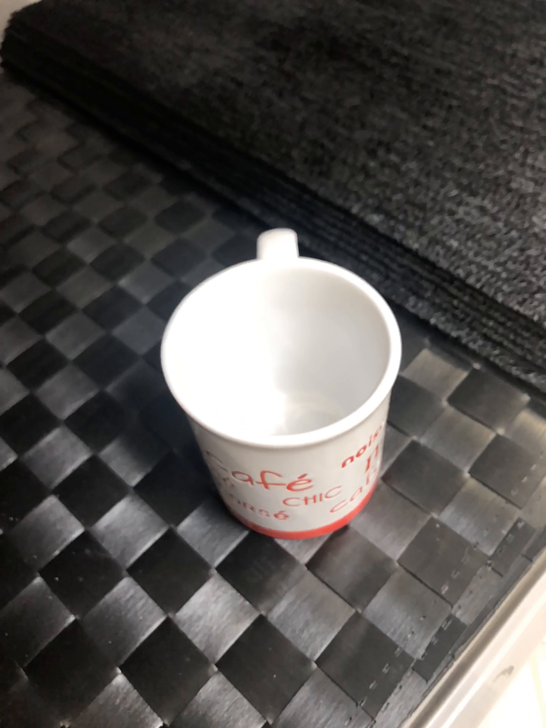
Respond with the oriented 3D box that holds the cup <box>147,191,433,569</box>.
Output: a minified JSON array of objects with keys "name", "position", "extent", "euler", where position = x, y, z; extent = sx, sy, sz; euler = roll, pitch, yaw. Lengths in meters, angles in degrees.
[{"name":"cup","position":[0.003,0.004,0.200],"extent":[0.067,0.064,0.097],"euler":[-5,53,2]}]
